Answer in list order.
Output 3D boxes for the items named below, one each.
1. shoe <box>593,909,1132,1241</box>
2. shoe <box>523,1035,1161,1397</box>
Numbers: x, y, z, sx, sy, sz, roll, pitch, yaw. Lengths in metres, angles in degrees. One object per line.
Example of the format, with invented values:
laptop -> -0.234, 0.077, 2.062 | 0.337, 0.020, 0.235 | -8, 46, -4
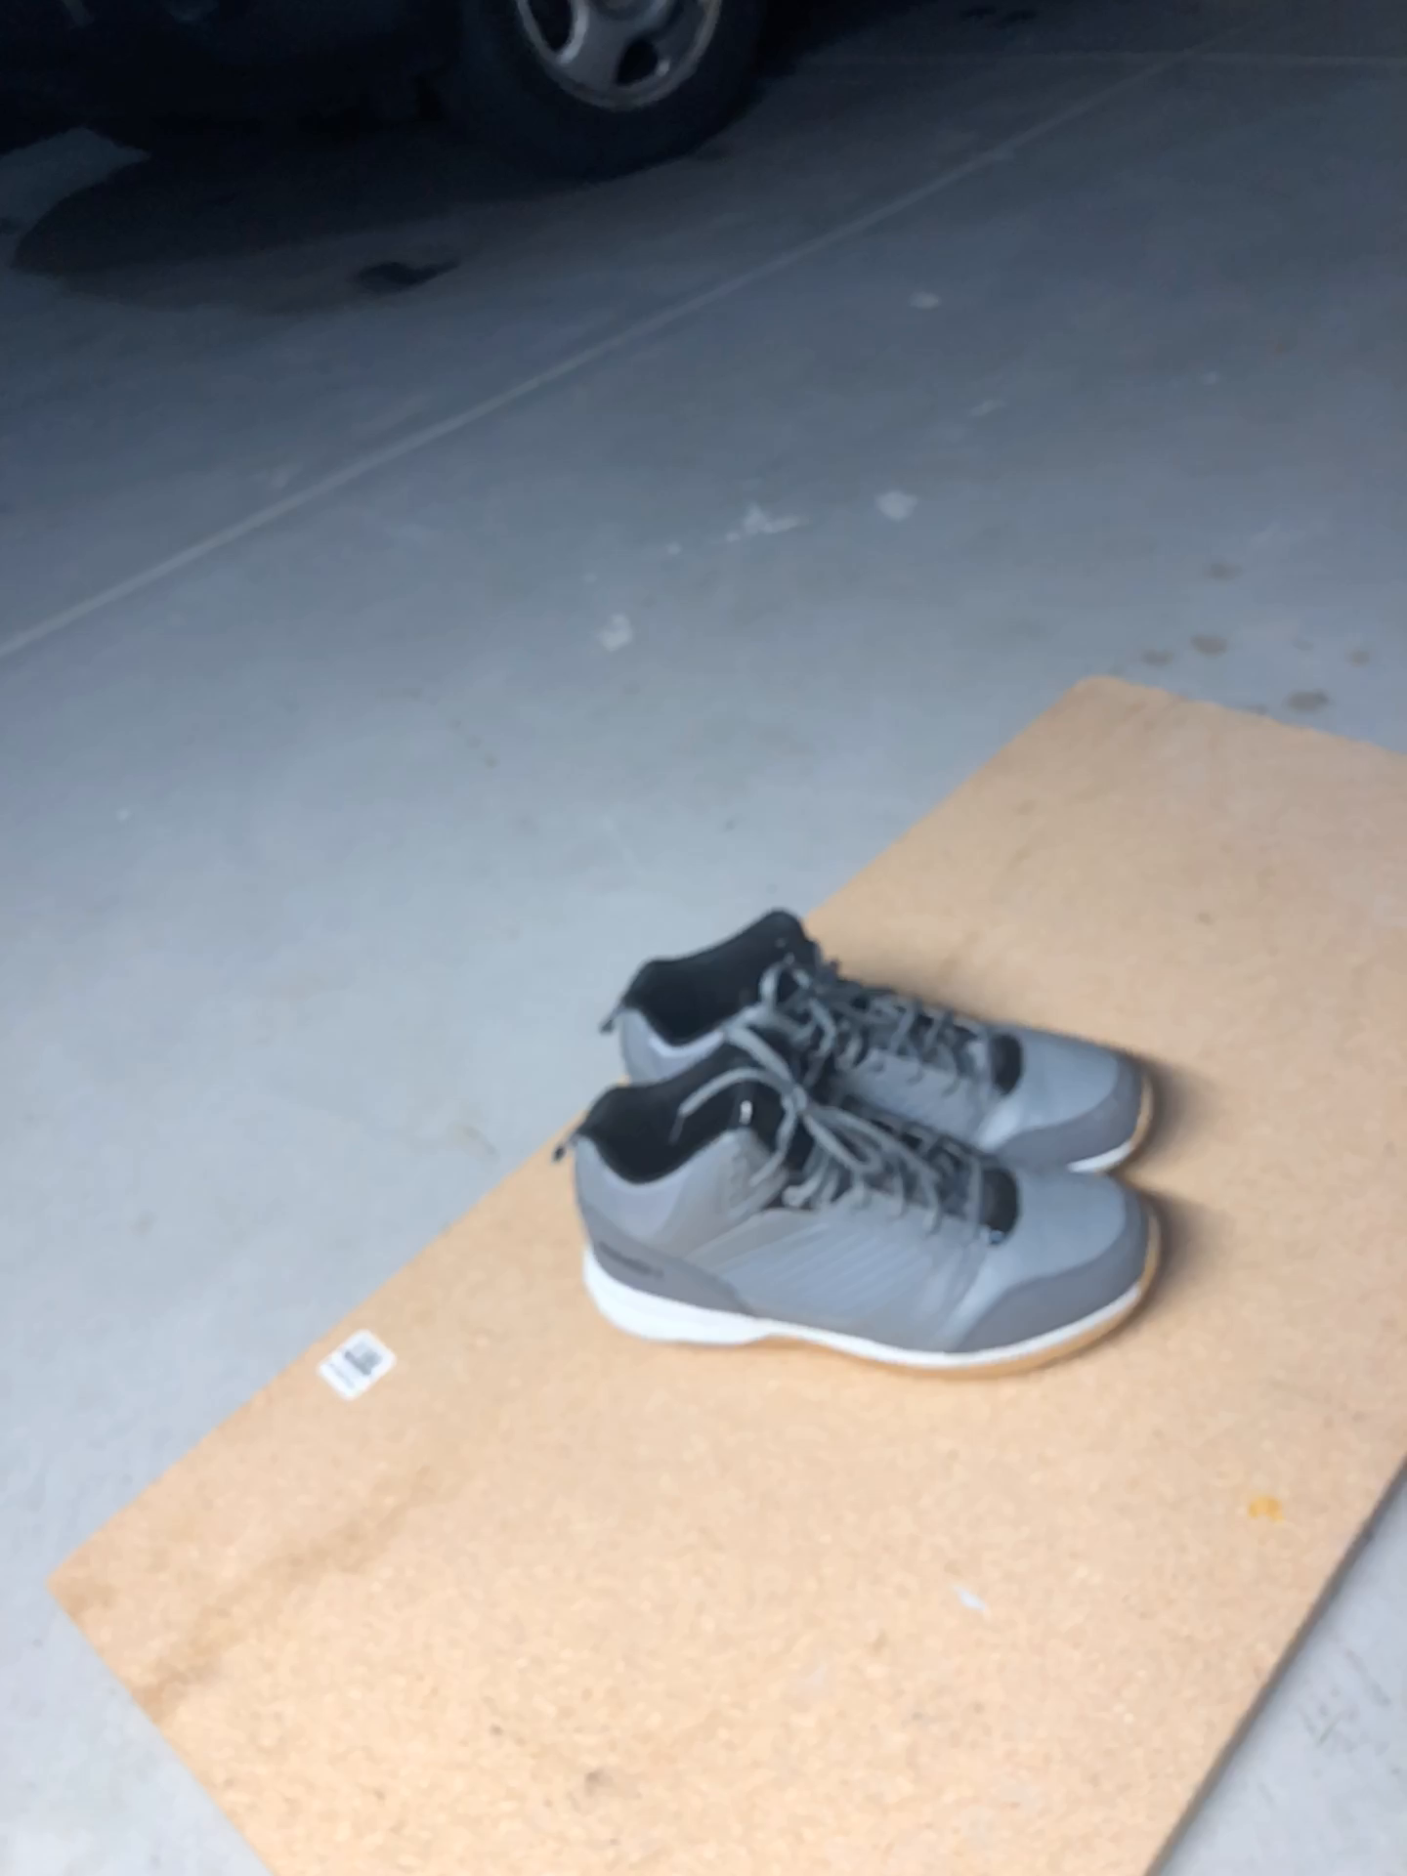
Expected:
shoe -> 0.091, 0.077, 0.845 | 0.260, 0.140, 0.100 | -3, 39, 14
shoe -> 0.074, 0.129, 0.761 | 0.280, 0.120, 0.110 | -1, 40, 17
